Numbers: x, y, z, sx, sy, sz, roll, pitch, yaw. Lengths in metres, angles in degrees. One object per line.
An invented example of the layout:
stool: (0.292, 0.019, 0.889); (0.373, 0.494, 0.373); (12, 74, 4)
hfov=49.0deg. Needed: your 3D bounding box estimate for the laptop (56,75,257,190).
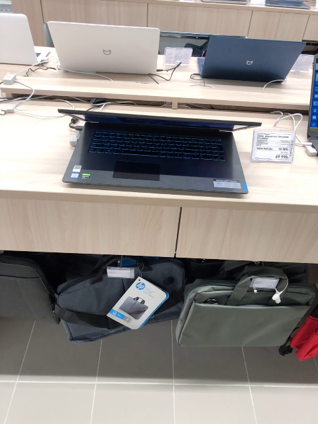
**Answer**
laptop: (-0.001, -0.196, 0.819); (0.389, 0.129, 0.272); (3, 40, -1)
